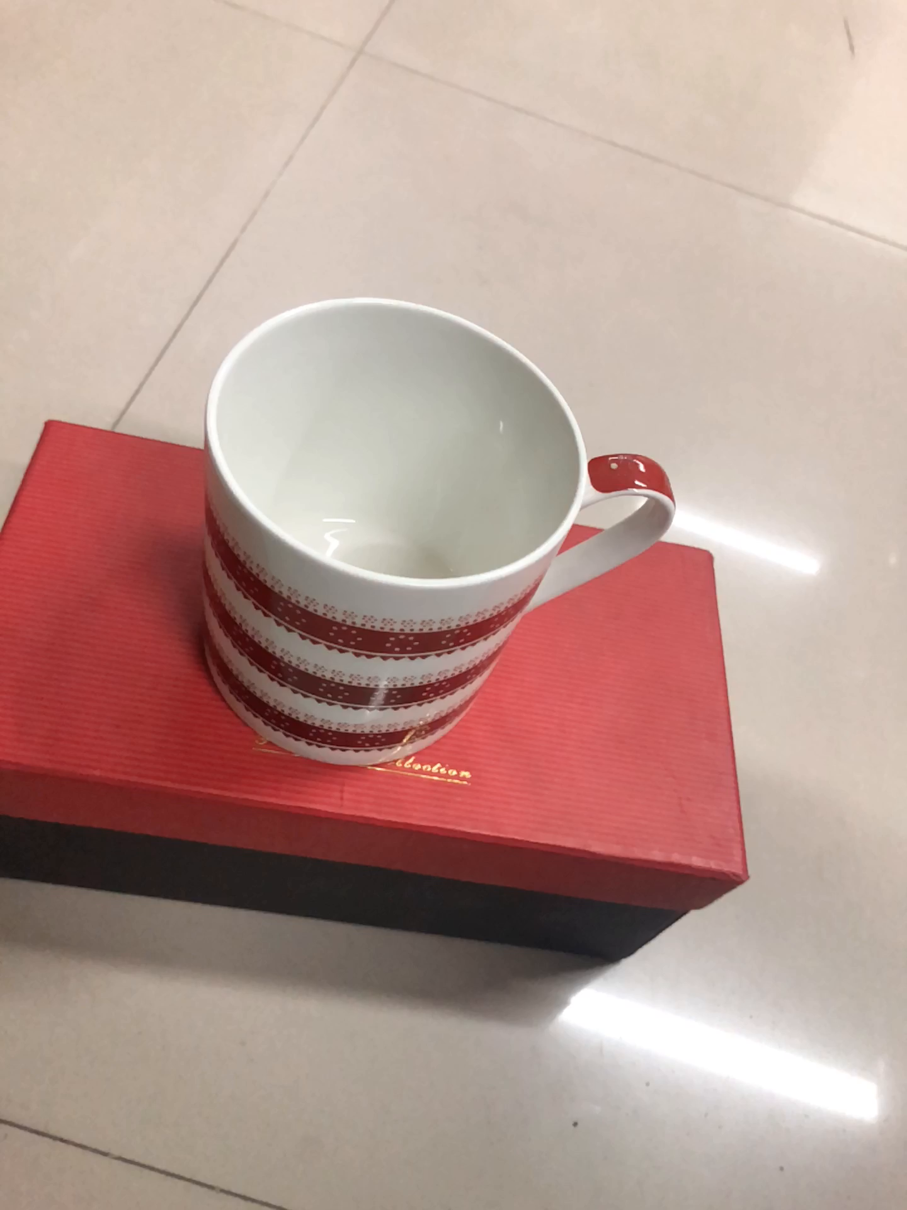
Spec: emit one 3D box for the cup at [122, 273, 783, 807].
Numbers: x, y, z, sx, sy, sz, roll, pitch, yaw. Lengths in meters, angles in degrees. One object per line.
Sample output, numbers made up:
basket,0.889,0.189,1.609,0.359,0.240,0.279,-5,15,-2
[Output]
cup,-0.009,-0.008,0.256,0.130,0.099,0.080,4,56,-13
